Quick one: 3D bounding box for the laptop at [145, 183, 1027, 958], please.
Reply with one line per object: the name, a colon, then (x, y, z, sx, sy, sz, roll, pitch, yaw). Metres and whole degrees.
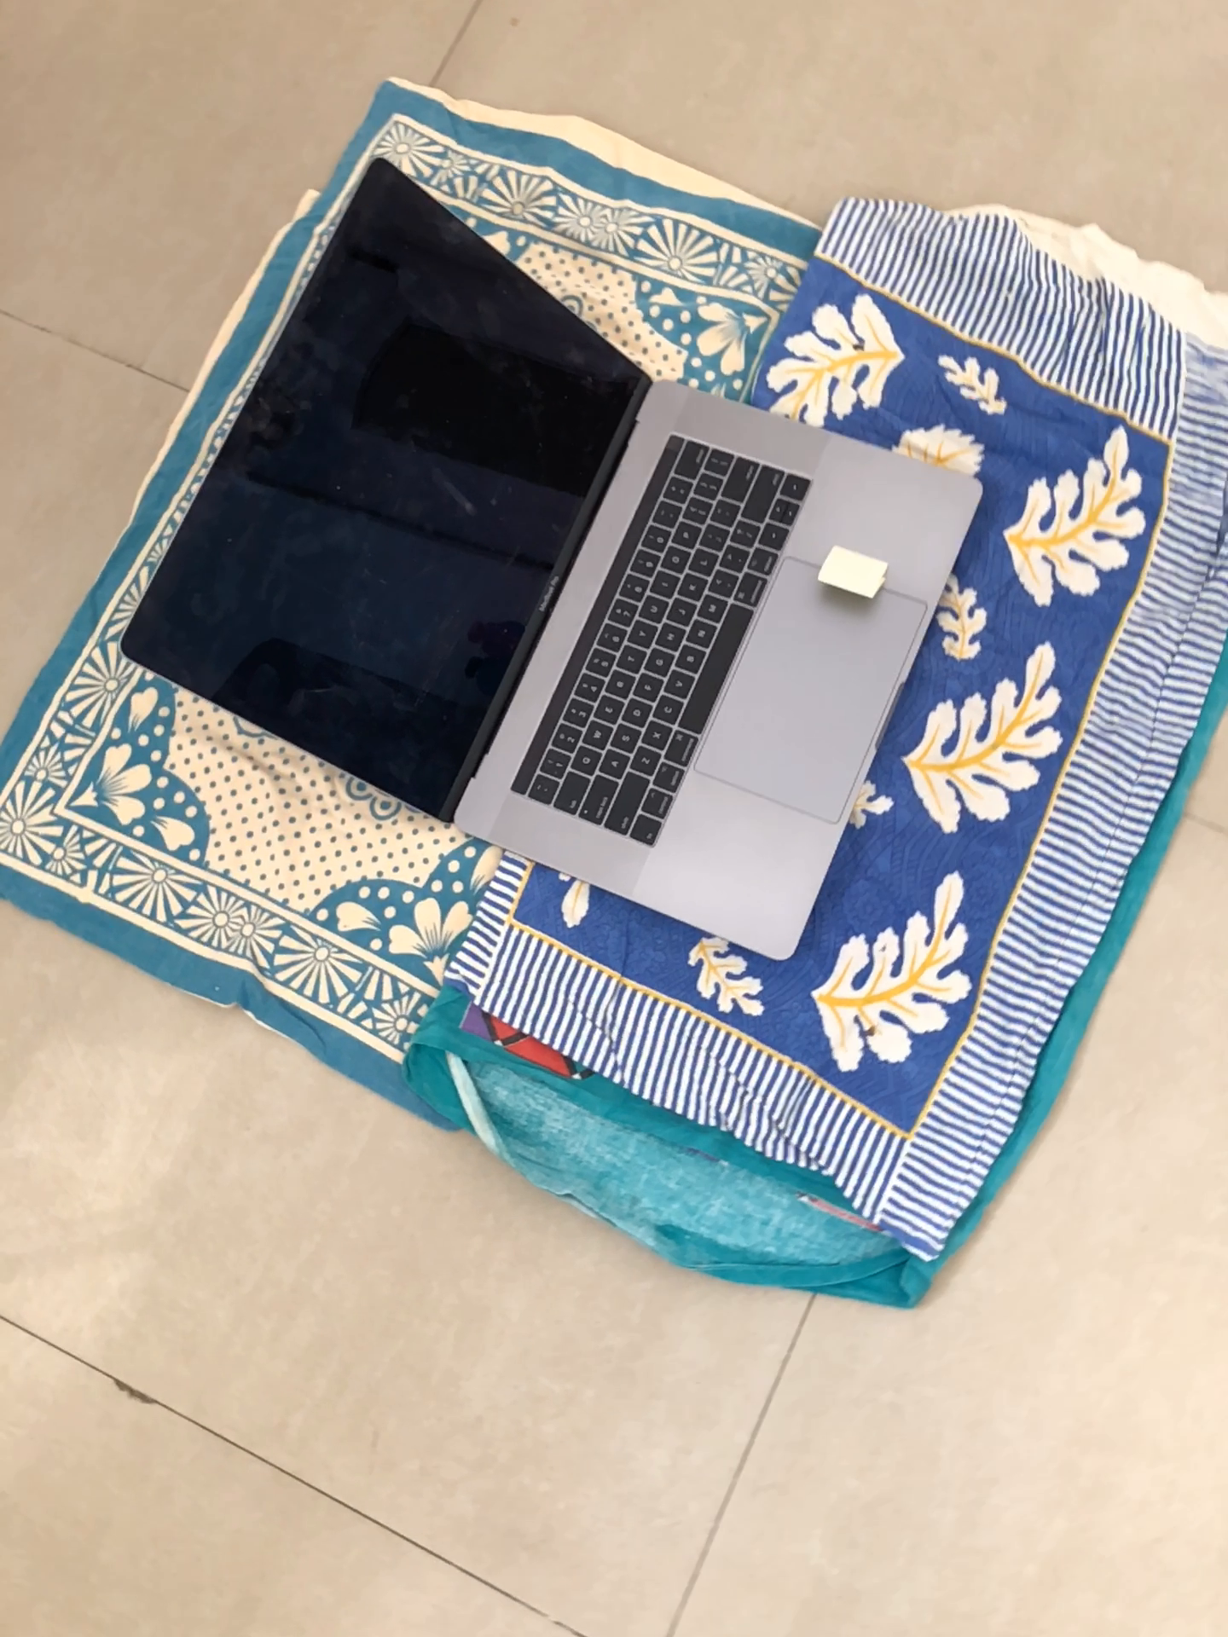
laptop: (-0.014, -0.153, 0.828, 0.401, 0.132, 0.336, 22, 79, 10)
